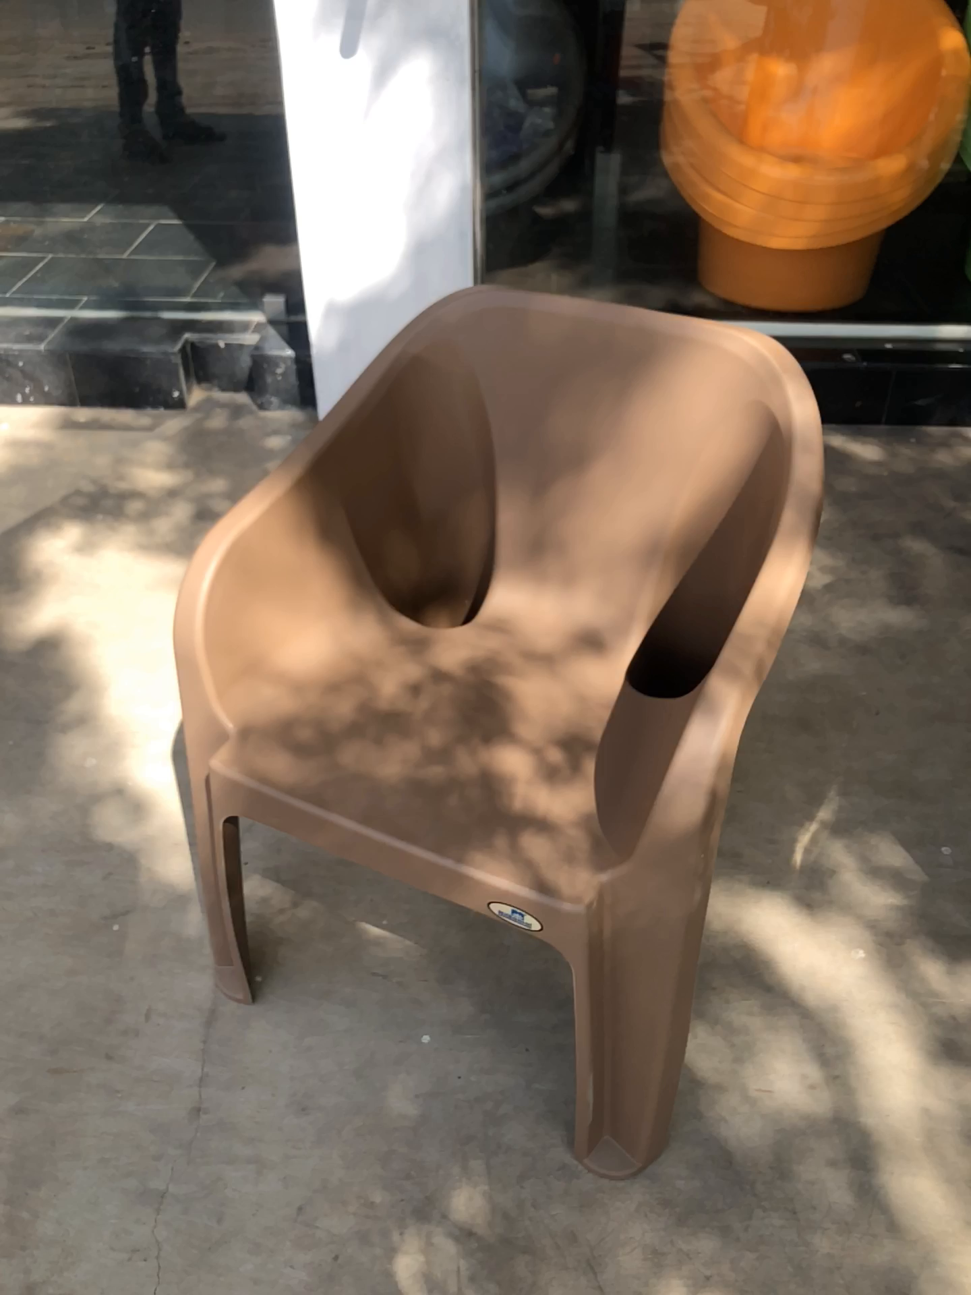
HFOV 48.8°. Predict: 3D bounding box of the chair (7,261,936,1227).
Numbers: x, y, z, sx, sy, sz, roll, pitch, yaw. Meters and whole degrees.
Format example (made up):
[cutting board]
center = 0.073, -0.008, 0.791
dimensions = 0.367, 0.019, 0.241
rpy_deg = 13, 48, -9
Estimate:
[chair]
center = 0.050, 0.035, 1.229
dimensions = 0.640, 0.637, 0.724
rpy_deg = 17, 41, 20
